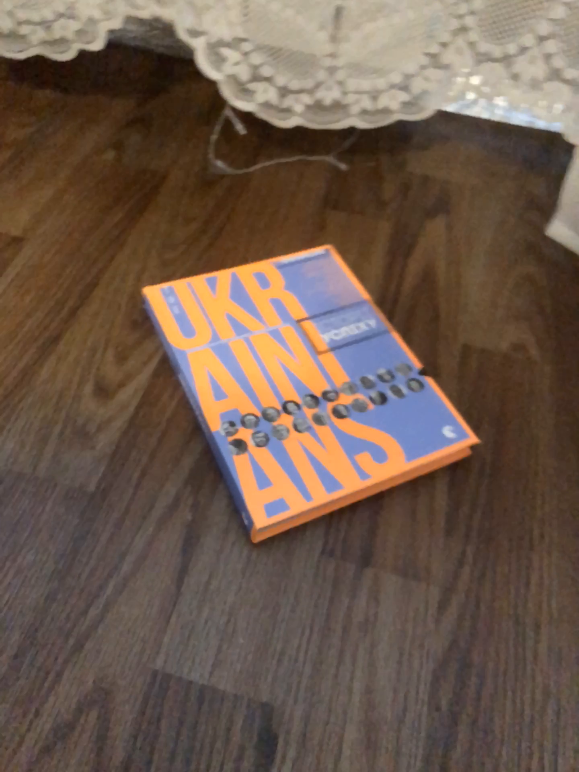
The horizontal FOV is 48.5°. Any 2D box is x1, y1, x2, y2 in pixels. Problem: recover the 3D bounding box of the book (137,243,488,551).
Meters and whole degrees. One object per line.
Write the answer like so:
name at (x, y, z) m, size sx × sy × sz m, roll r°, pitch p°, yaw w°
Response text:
book at (0.008, -0.012, 0.453) m, size 0.165 × 0.020 × 0.216 m, roll -17°, pitch 55°, yaw -22°
